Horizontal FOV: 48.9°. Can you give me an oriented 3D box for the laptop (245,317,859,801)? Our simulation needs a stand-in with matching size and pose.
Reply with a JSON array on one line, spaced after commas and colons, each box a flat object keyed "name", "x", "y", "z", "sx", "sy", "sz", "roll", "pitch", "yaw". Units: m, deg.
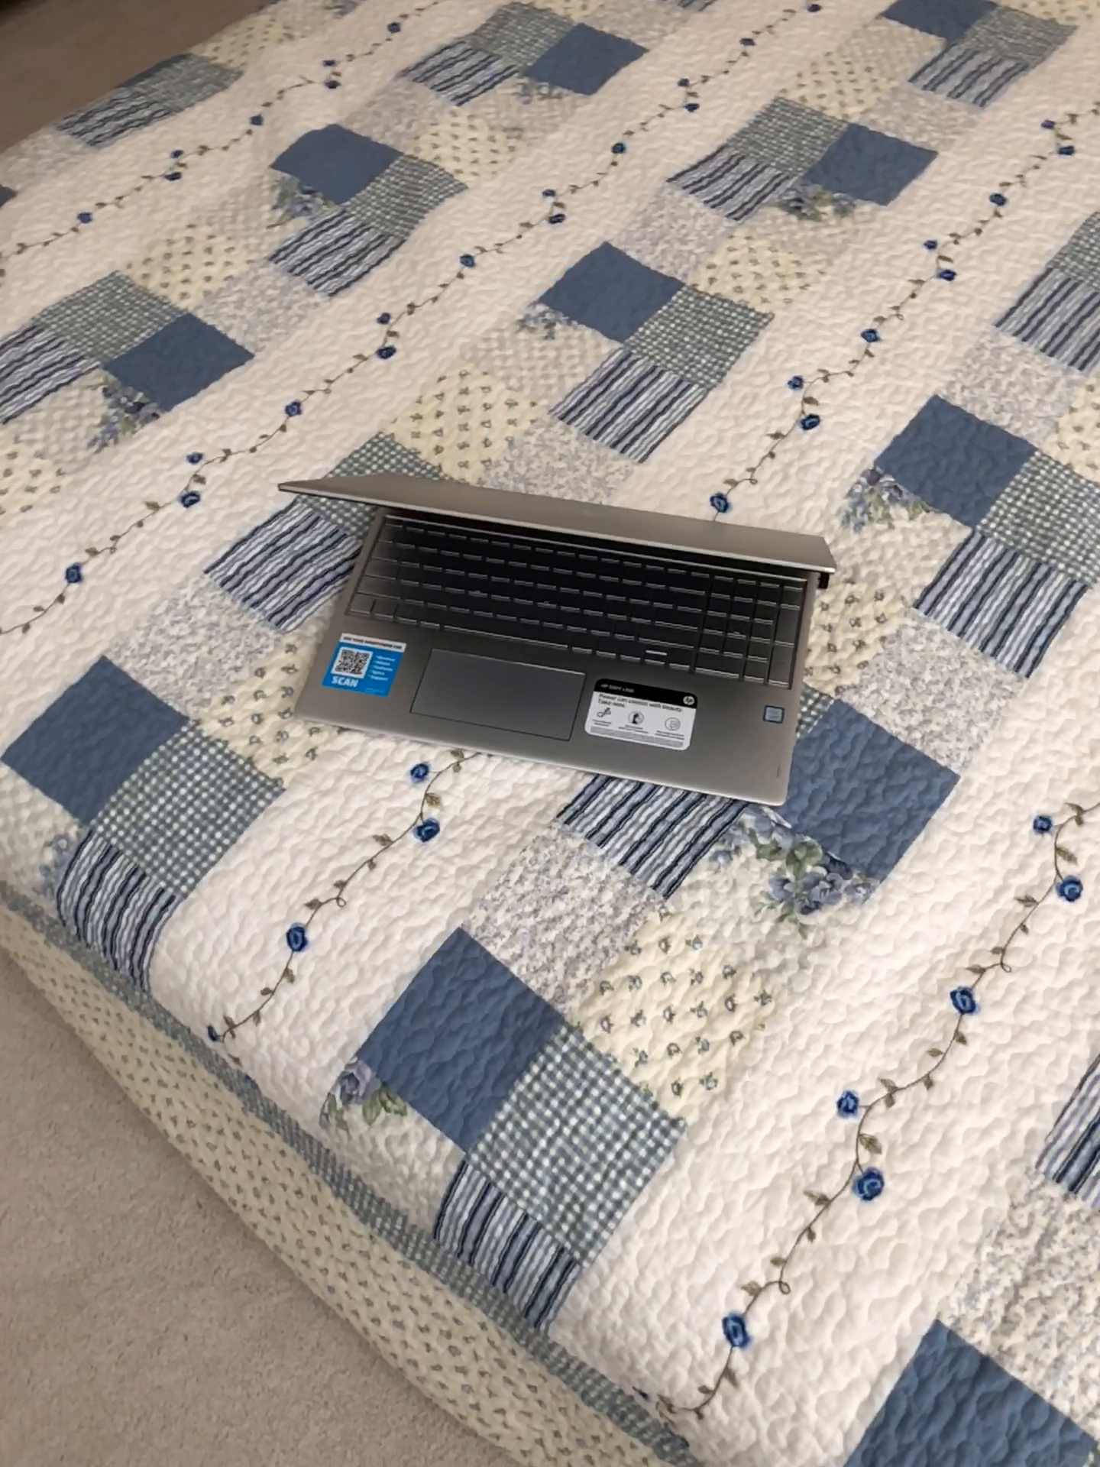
[{"name": "laptop", "x": 0.014, "y": -0.126, "z": 0.836, "sx": 0.348, "sy": 0.158, "sz": 0.242, "roll": 10, "pitch": 57, "yaw": 8}]
